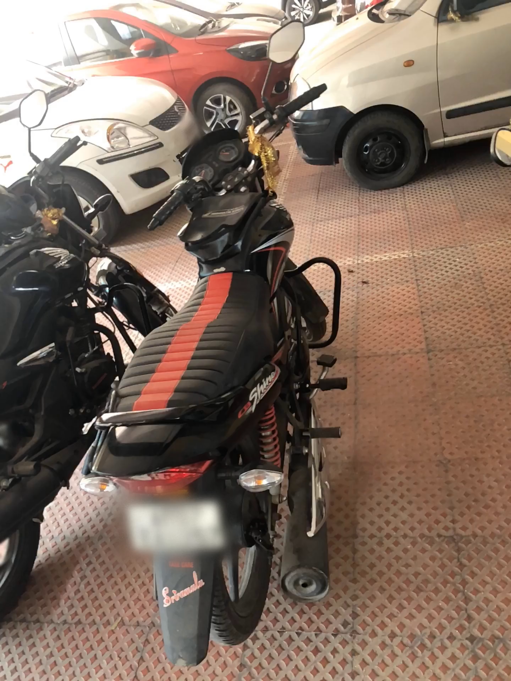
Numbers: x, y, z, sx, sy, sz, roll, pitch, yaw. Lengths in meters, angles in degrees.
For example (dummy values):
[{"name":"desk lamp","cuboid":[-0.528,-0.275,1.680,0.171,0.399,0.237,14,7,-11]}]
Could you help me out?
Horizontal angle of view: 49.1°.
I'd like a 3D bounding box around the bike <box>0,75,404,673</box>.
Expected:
[{"name":"bike","cuboid":[-0.157,-0.055,1.733,0.746,1.010,1.562,-11,34,8]}]
